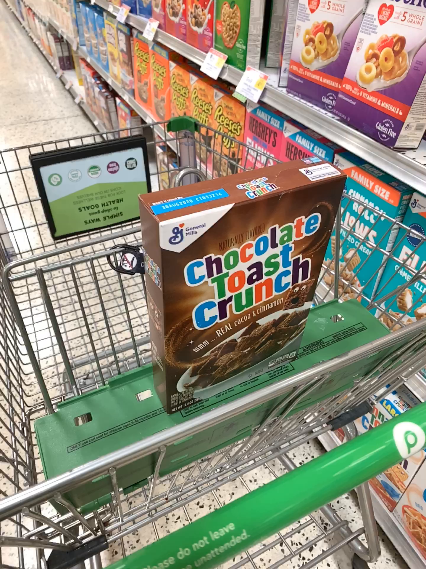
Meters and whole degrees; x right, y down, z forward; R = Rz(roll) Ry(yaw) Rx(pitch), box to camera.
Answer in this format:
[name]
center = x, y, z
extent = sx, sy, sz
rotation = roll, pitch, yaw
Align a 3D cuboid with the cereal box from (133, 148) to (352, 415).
[cereal box]
center = 0.026, 0.008, 0.487
extent = 0.201, 0.277, 0.050
rotation = -18, 46, -22
